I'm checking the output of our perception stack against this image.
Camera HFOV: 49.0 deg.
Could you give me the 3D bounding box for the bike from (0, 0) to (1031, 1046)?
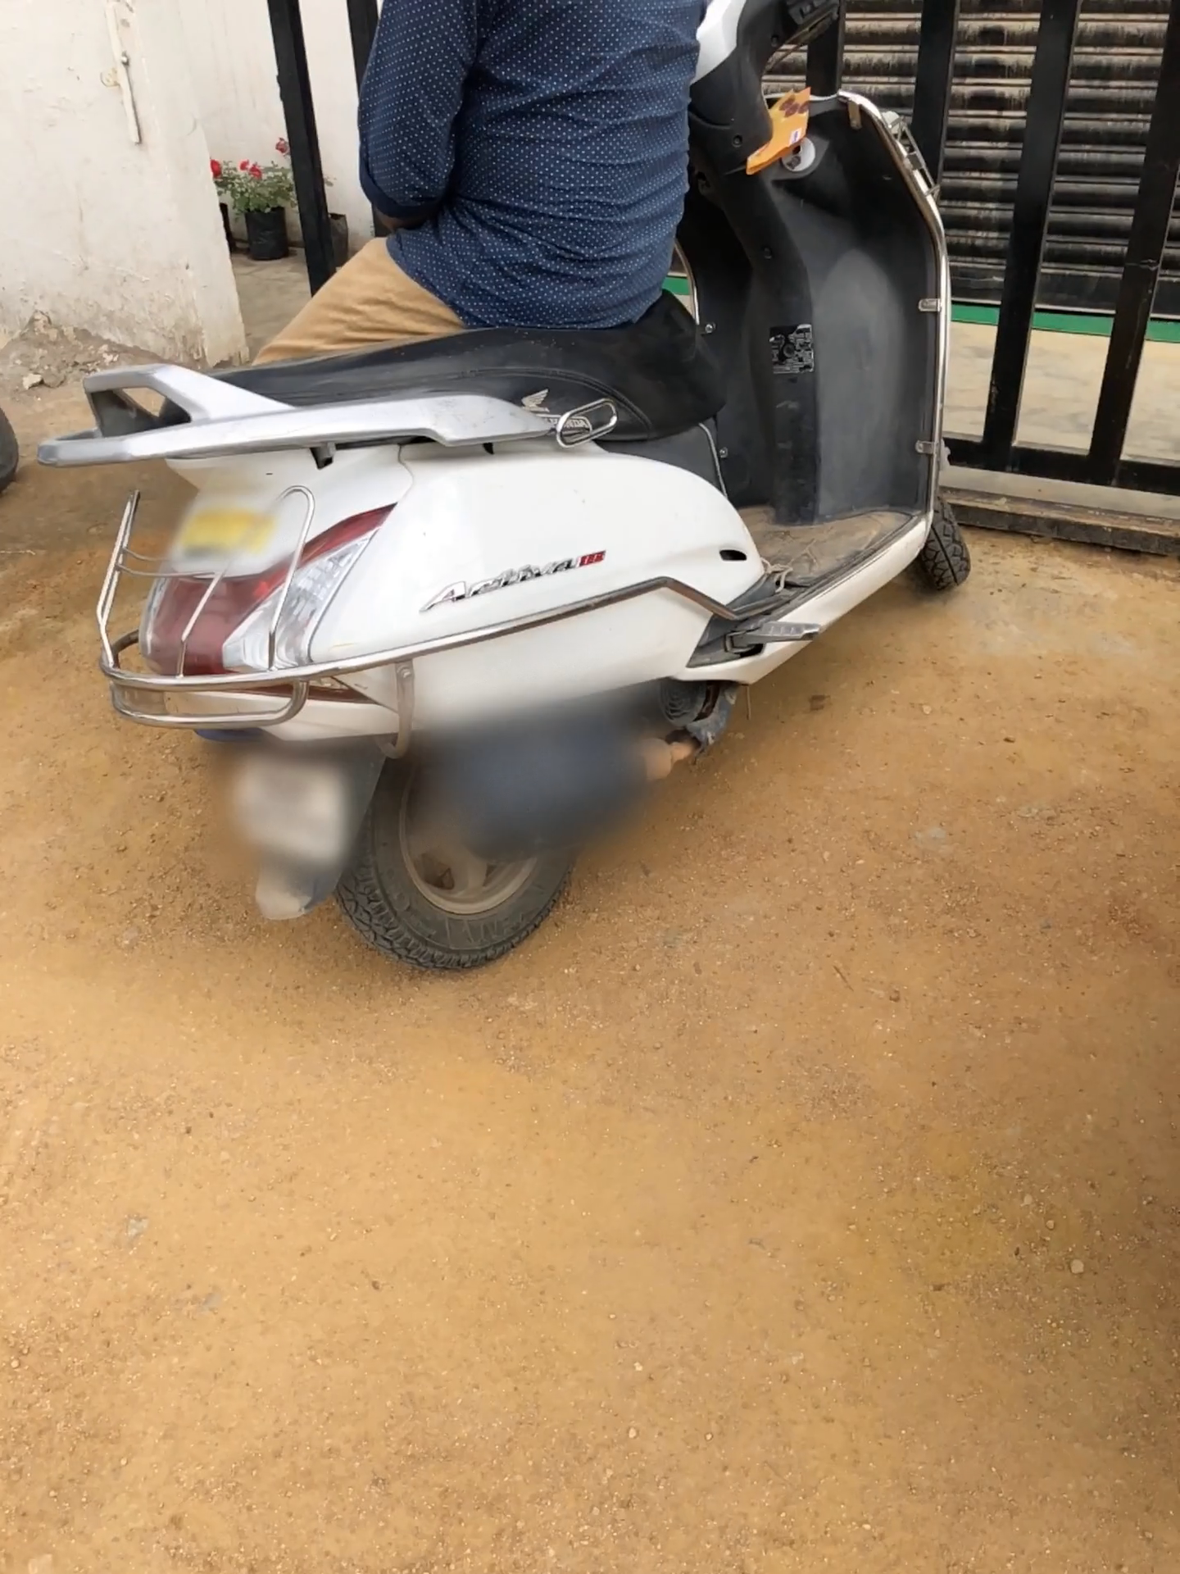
[{"bbox_3d":[0.035,-0.661,2.001,0.650,1.069,1.655,18,40,28],"label":"bike"}]
